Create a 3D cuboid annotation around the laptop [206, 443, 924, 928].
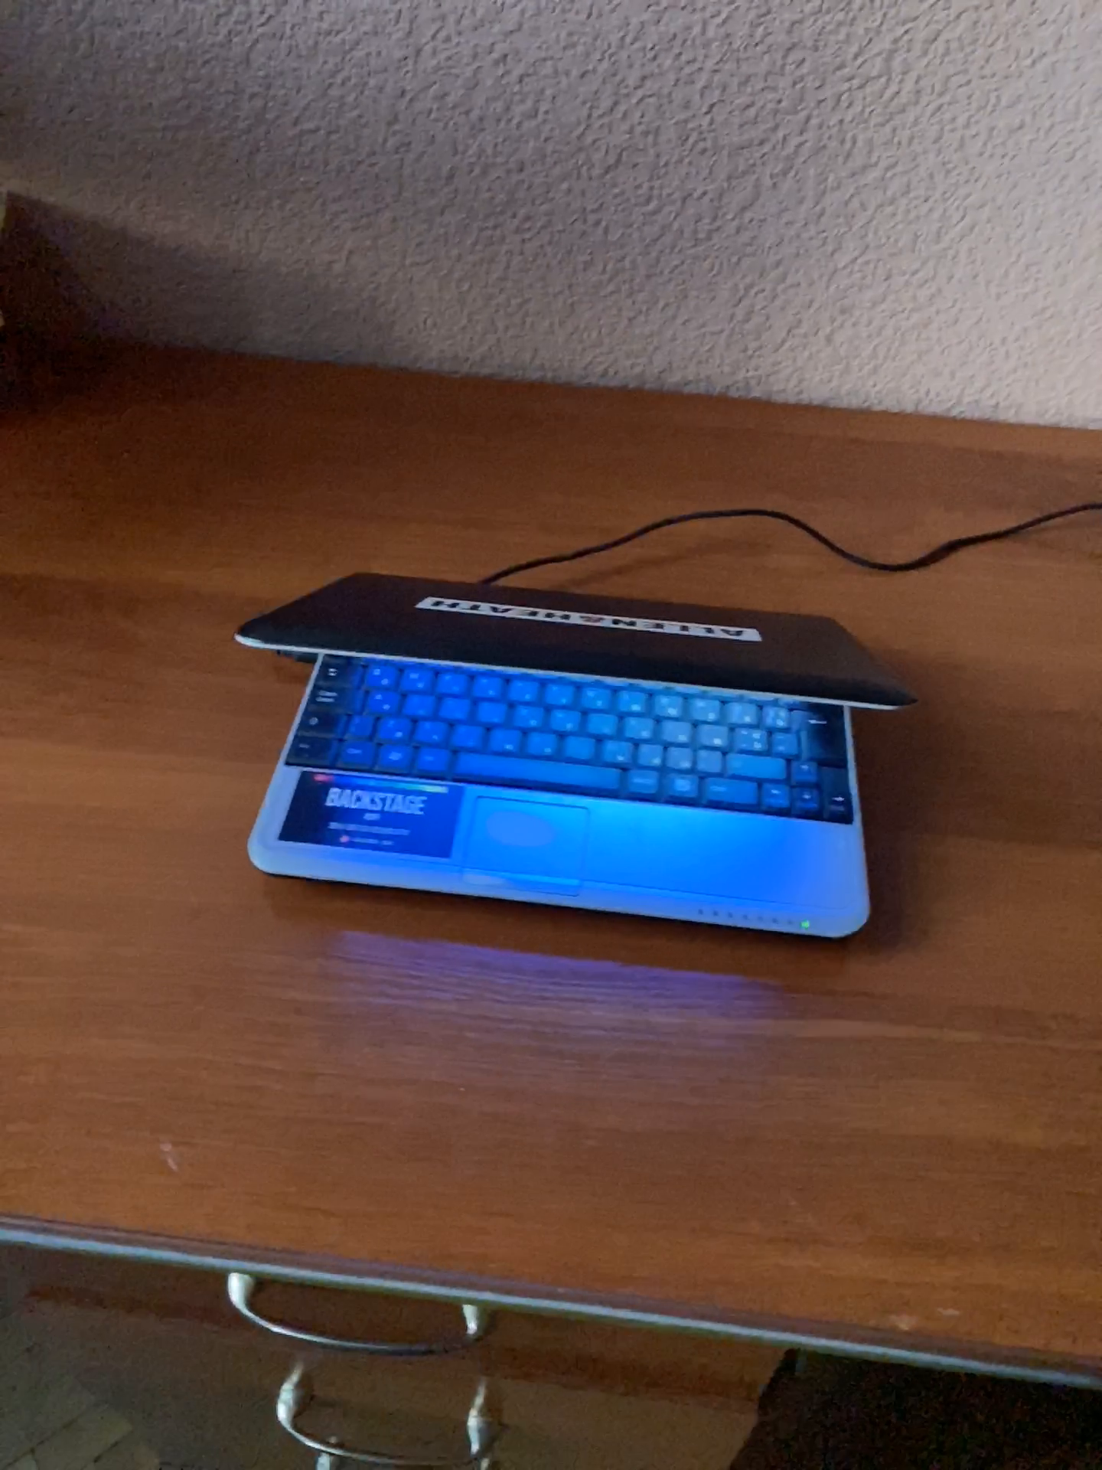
[{"bbox_3d":[0.012,-0.030,0.502,0.266,0.088,0.173,6,48,4],"label":"laptop"}]
